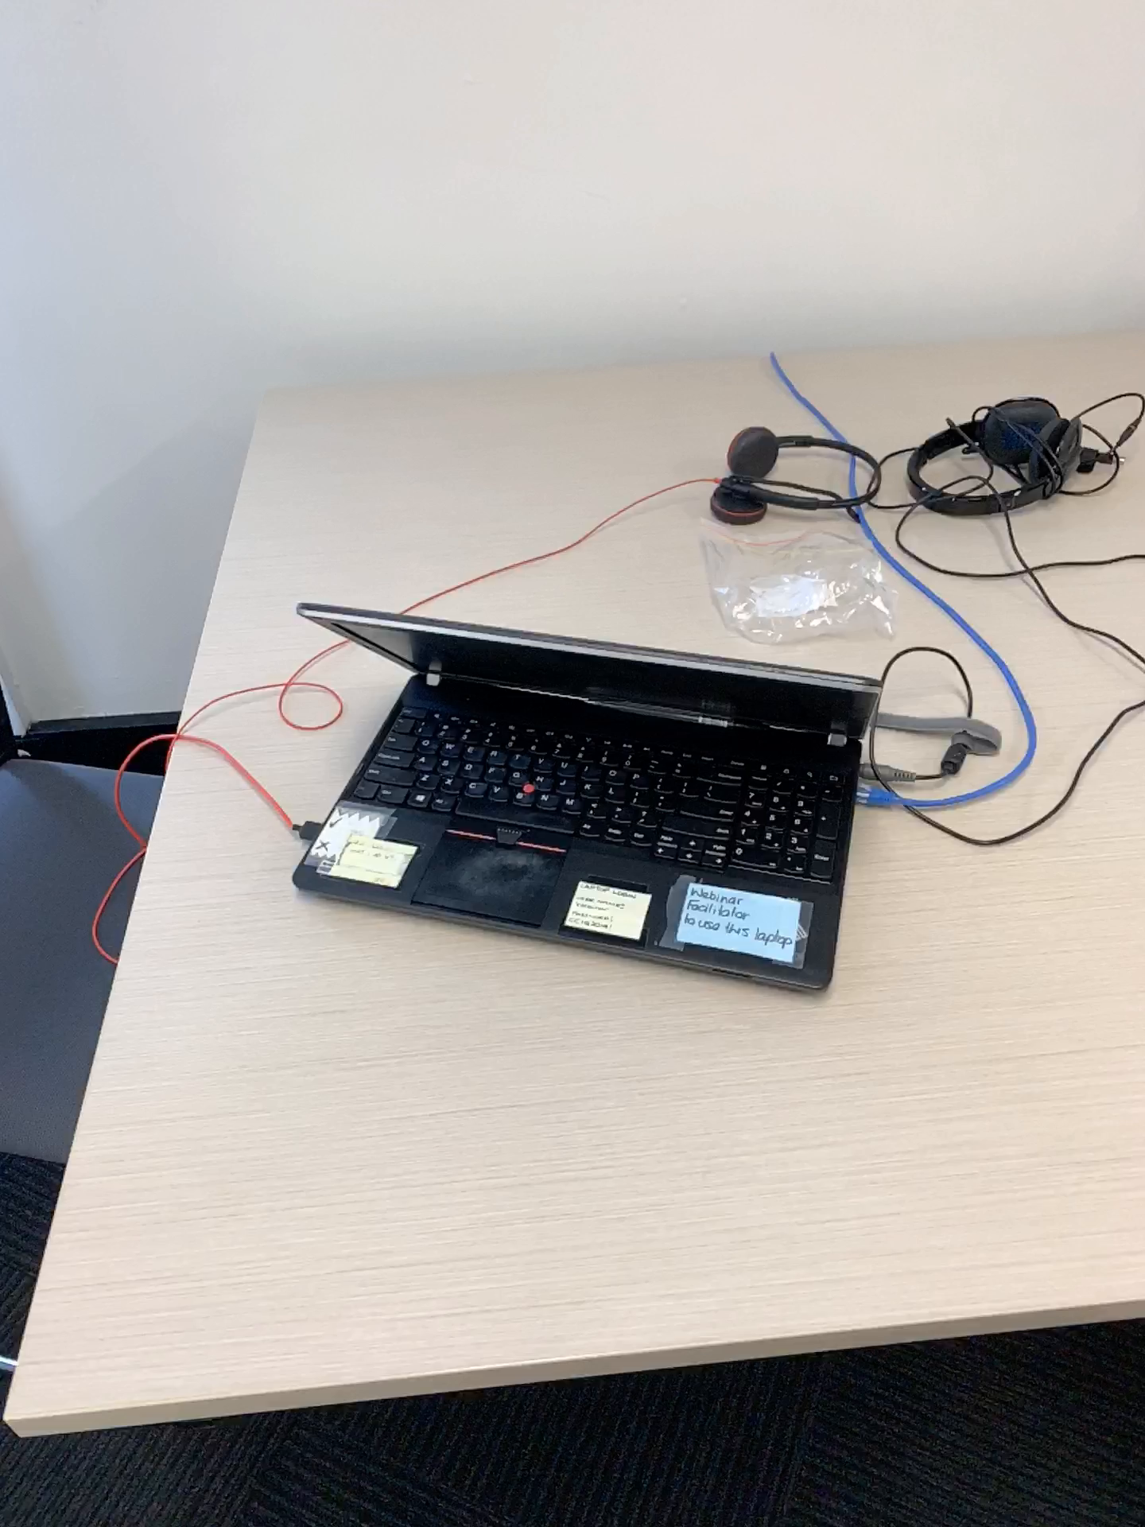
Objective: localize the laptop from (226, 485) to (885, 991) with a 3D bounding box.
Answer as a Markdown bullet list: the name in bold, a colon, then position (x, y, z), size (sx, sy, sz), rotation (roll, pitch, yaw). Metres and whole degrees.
- **laptop**: position (0.008, -0.033, 0.696), size (0.326, 0.157, 0.227), rotation (8, 39, 14)
